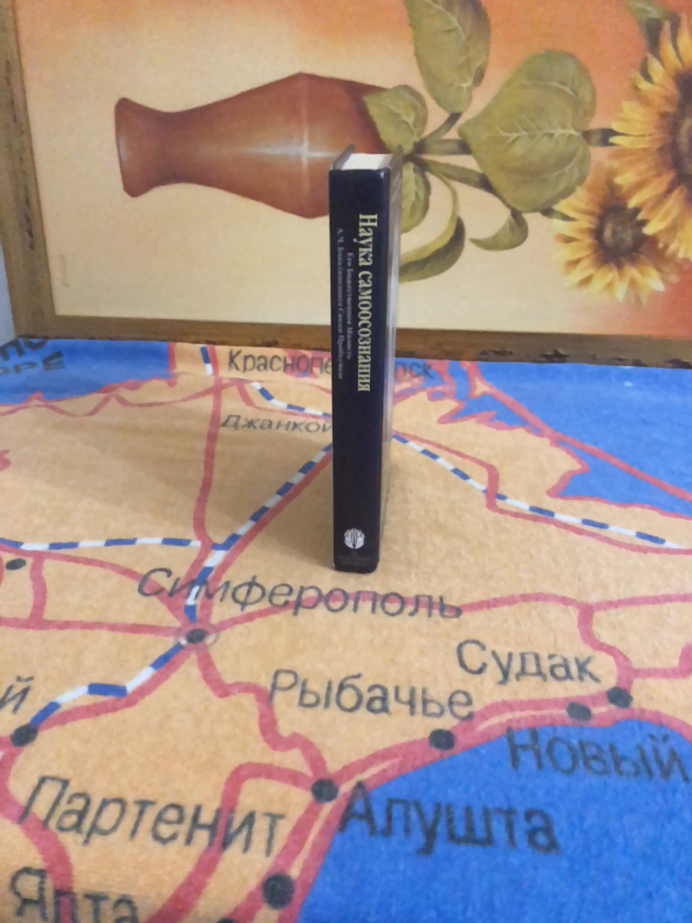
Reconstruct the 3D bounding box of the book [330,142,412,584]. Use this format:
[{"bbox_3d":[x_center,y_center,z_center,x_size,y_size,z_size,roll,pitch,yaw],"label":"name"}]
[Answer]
[{"bbox_3d":[0.015,-0.060,0.421,0.030,0.206,0.141,3,27,5],"label":"book"}]
